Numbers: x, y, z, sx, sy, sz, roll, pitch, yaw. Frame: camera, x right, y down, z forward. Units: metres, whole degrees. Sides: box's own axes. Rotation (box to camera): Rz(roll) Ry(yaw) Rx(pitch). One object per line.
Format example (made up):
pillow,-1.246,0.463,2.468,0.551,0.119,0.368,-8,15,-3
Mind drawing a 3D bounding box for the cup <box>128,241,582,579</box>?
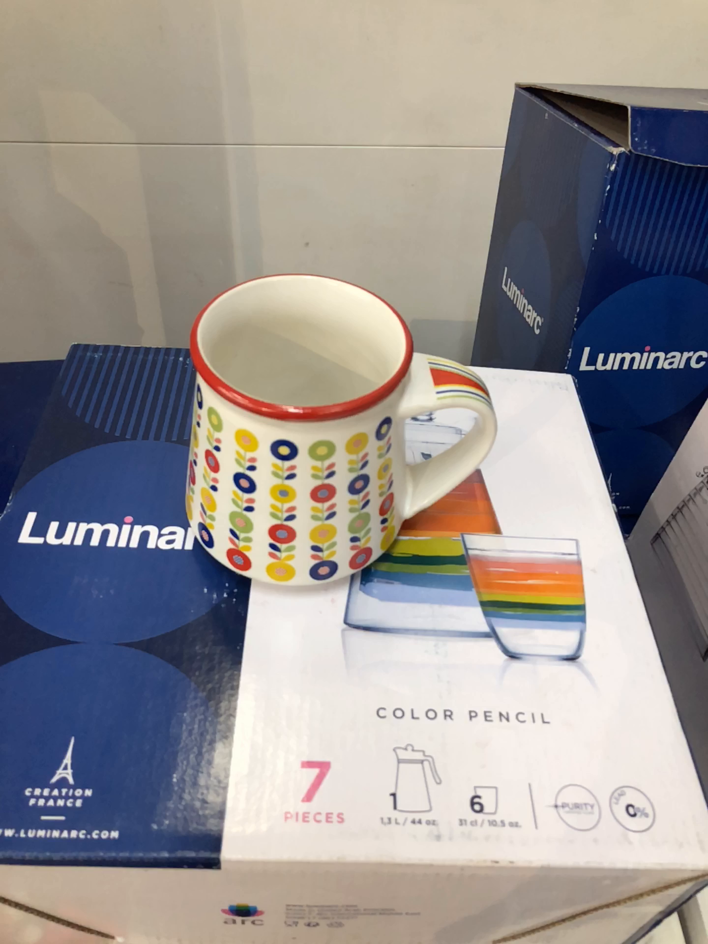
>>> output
cup,-0.001,-0.021,0.283,0.130,0.089,0.081,1,46,-1
